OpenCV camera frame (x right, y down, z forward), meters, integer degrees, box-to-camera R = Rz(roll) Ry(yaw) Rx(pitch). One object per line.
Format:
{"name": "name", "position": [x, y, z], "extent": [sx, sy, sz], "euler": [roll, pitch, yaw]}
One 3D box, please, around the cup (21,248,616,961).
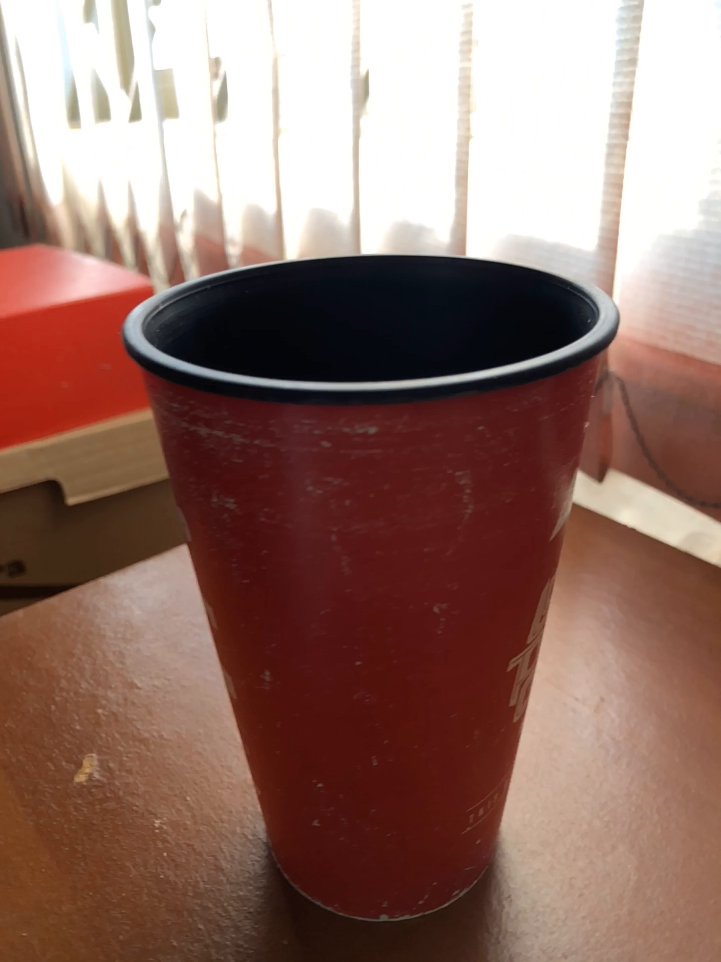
{"name": "cup", "position": [0.006, 0.026, 0.189], "extent": [0.090, 0.139, 0.101], "euler": [5, 25, 16]}
